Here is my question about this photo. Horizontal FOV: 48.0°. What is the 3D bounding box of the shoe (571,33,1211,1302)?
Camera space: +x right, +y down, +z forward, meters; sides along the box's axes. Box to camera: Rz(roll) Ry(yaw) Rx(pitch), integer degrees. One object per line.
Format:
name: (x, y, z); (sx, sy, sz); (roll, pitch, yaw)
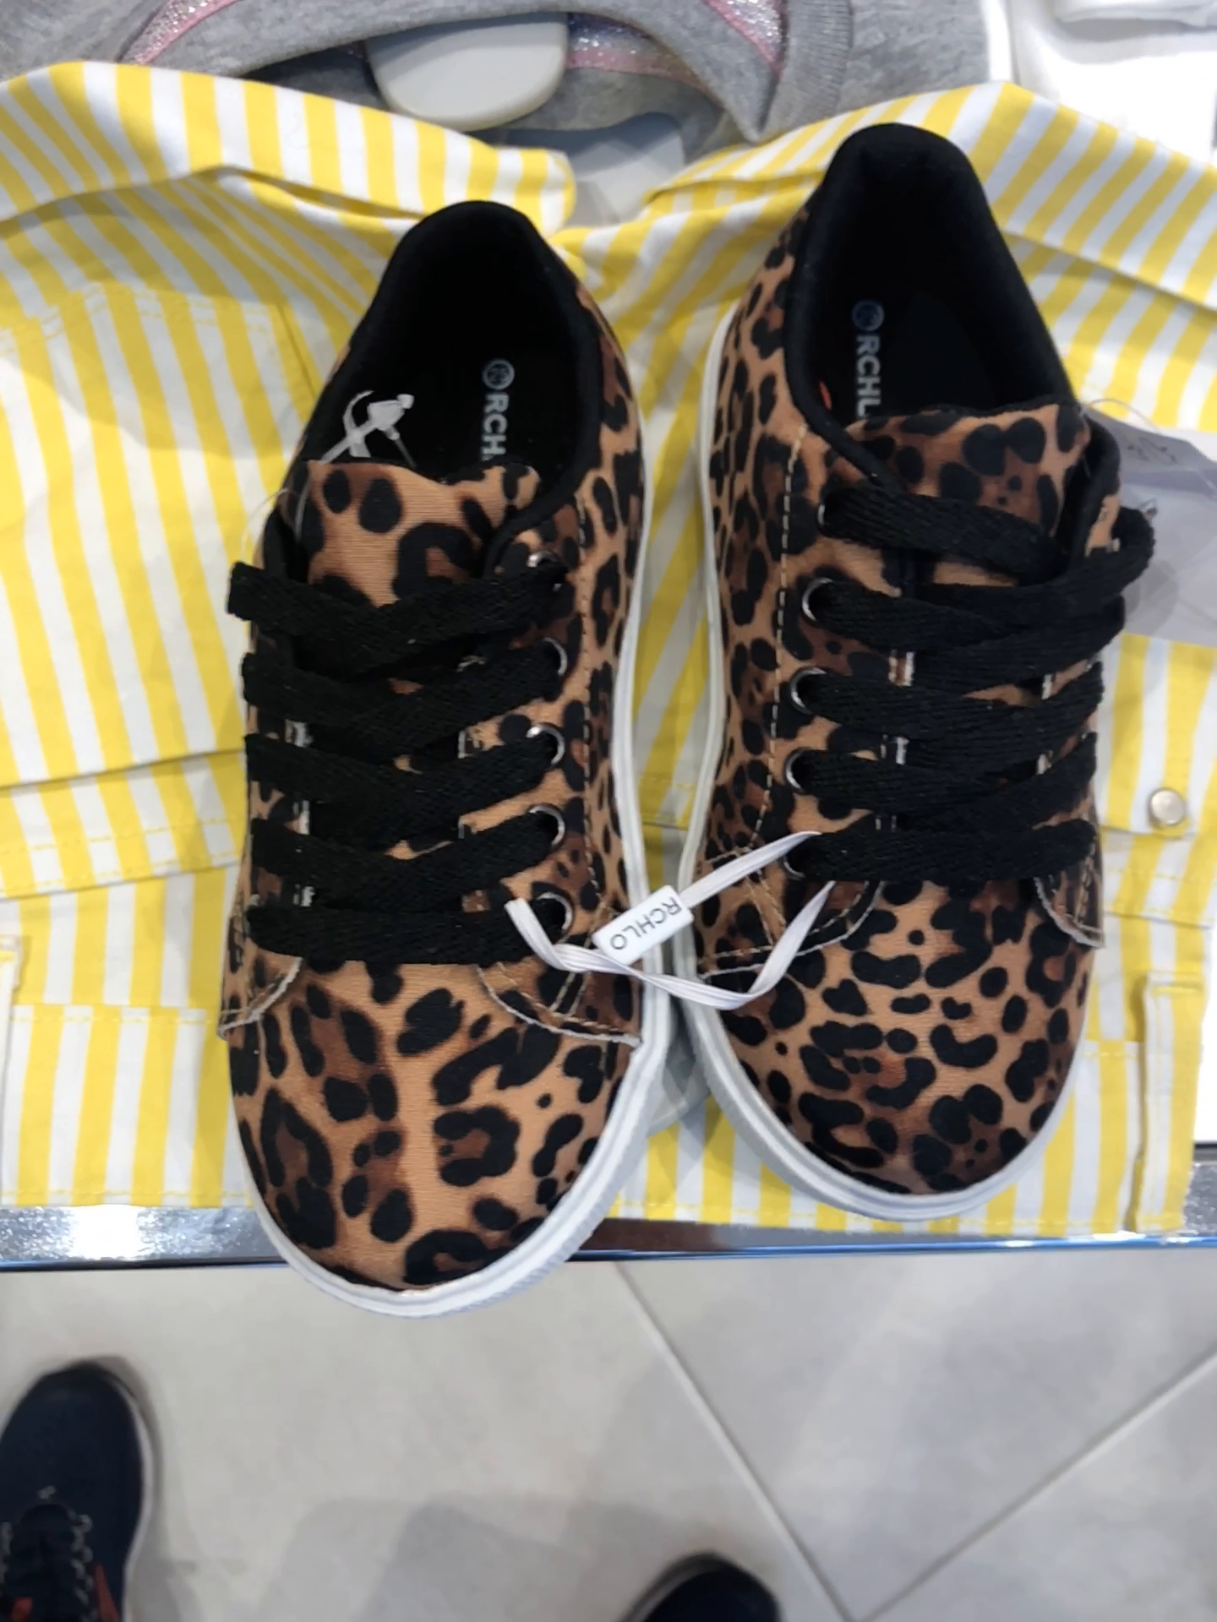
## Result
shoe: (0.040, -0.018, 0.224); (0.080, 0.080, 0.170); (3, 84, -4)

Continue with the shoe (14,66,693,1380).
shoe: (-0.035, -0.012, 0.217); (0.080, 0.060, 0.170); (-2, 83, 23)
